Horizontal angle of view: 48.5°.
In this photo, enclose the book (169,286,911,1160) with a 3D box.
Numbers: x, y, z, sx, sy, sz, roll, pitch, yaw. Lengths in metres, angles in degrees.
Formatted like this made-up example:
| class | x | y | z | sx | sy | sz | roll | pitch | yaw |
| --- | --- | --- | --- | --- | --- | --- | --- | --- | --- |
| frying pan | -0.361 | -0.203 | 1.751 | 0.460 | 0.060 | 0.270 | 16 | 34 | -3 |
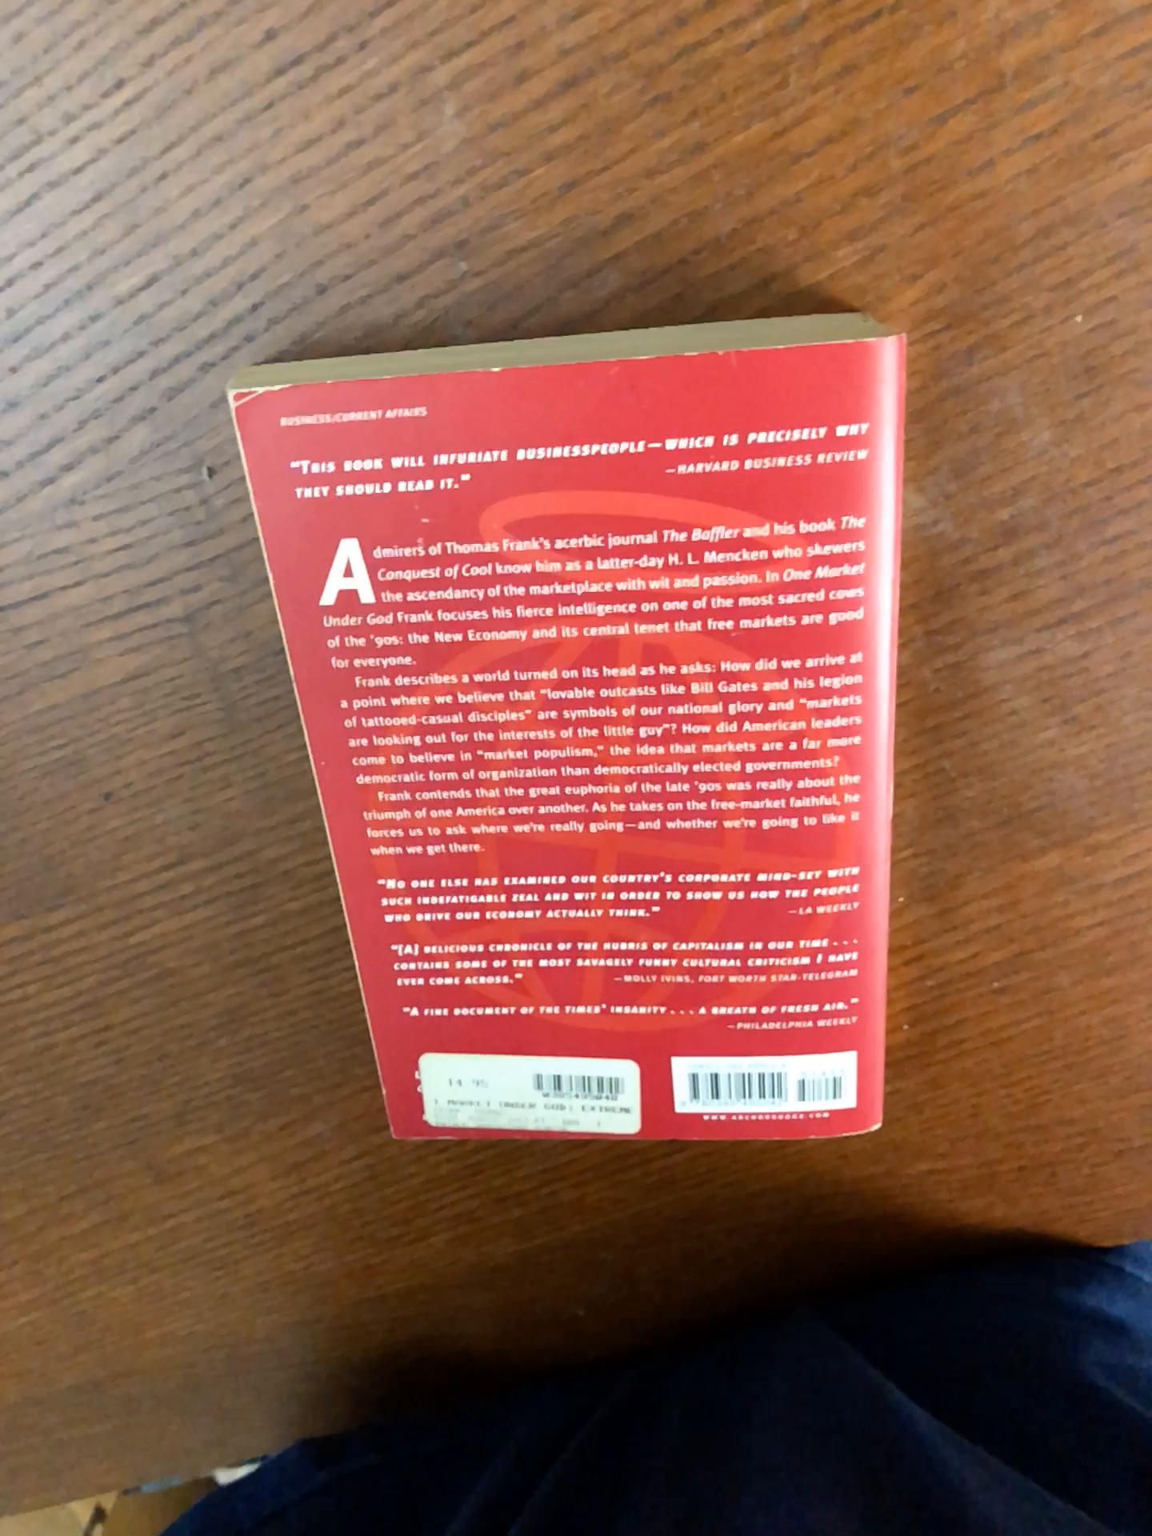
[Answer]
| class | x | y | z | sx | sy | sz | roll | pitch | yaw |
| --- | --- | --- | --- | --- | --- | --- | --- | --- | --- |
| book | 0.002 | 0.005 | 0.303 | 0.140 | 0.030 | 0.210 | -2 | 119 | 7 |
